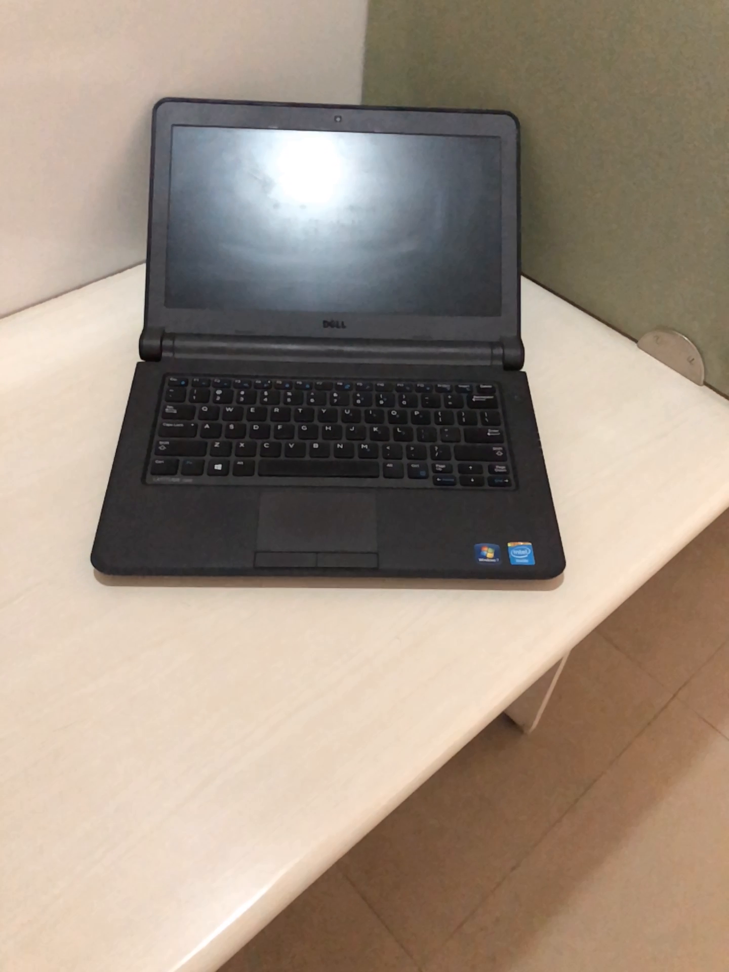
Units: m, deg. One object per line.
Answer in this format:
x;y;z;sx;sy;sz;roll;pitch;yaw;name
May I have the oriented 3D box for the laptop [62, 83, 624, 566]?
-0.015;-0.145;0.612;0.309;0.128;0.396;1;51;-1;laptop
